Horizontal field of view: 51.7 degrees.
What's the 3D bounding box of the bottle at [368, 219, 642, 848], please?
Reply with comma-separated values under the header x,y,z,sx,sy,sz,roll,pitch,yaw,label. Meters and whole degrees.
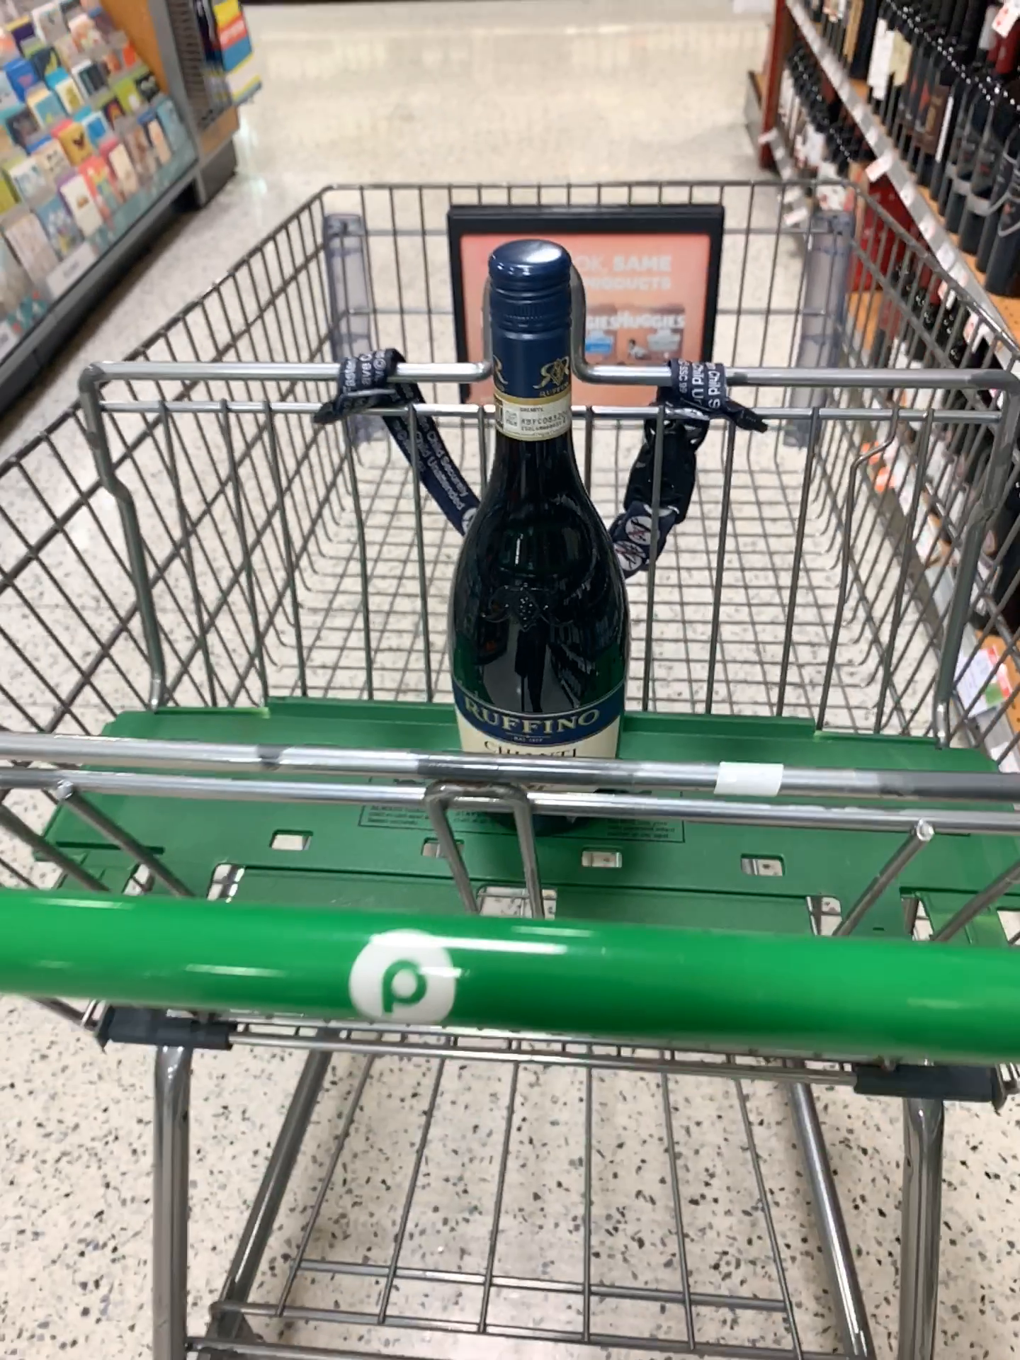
x,y,z,sx,sy,sz,roll,pitch,yaw,label
0.007,-0.049,0.466,0.090,0.267,0.091,-2,42,2,bottle
